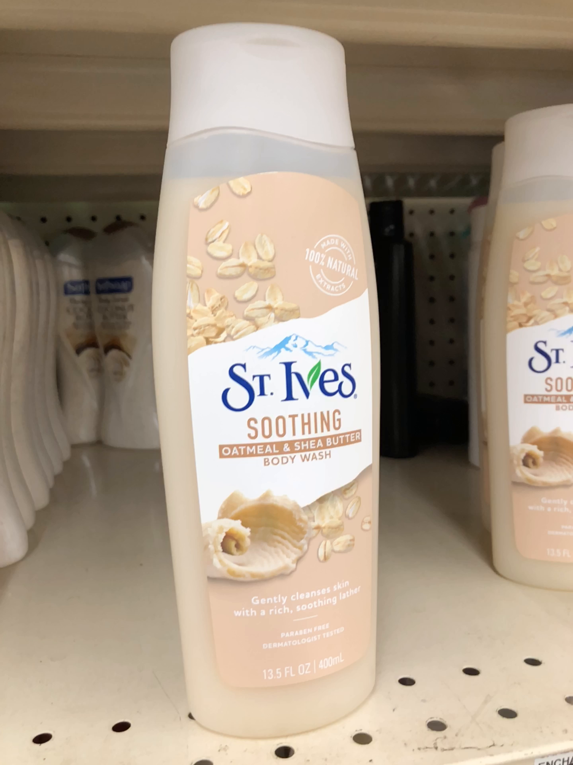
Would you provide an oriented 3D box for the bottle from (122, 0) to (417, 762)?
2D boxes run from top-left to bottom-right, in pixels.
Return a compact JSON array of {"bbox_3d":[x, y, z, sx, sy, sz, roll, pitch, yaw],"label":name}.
[{"bbox_3d":[-0.005,-0.003,0.216,0.080,0.230,0.050,-5,10,-17],"label":"bottle"}]
